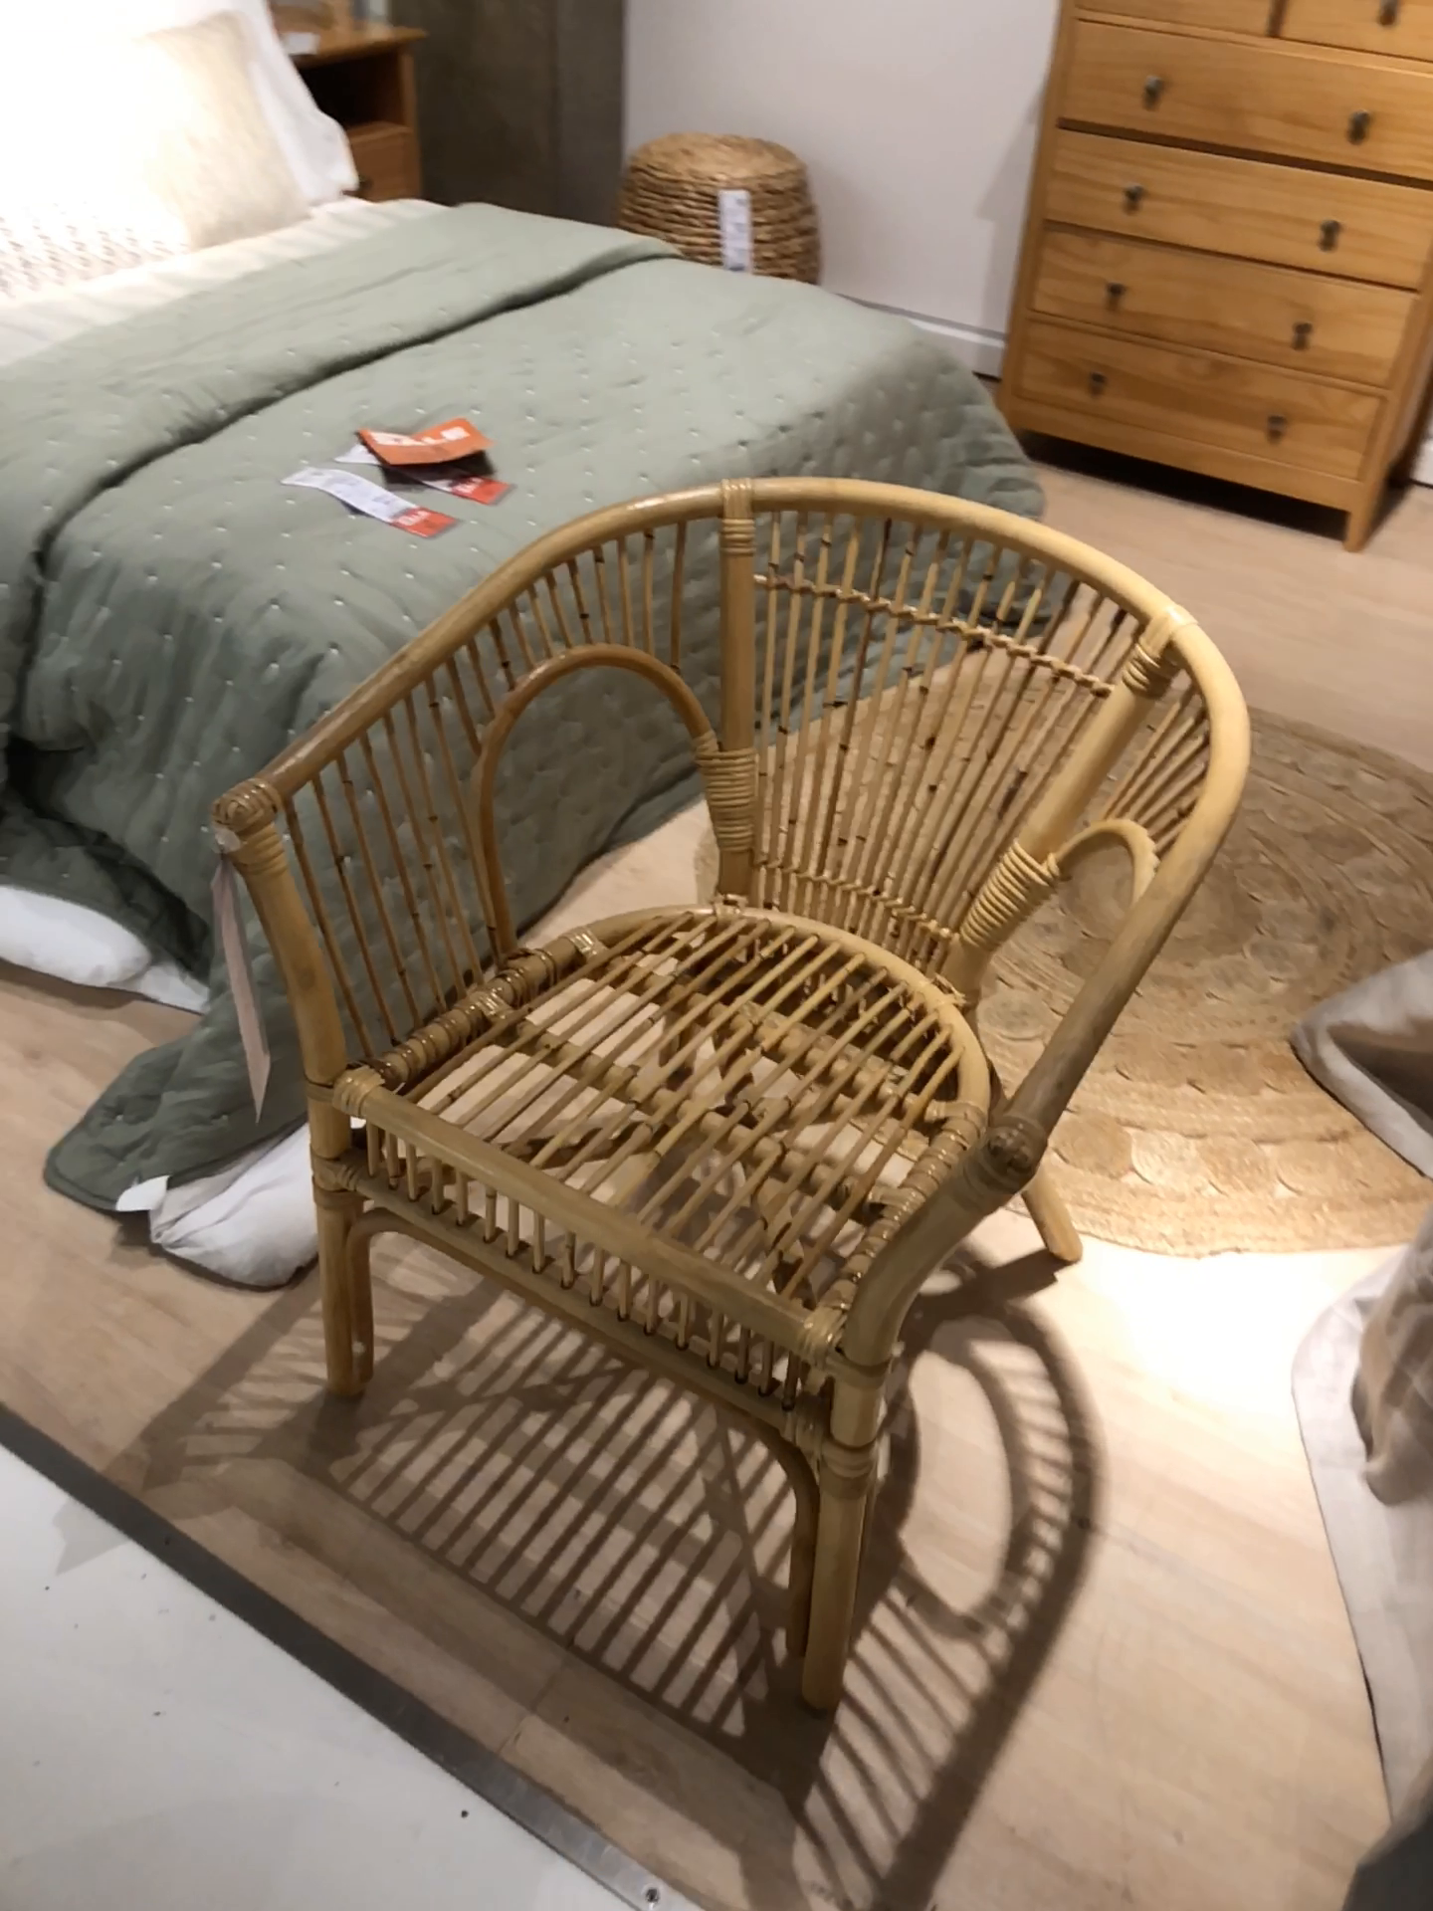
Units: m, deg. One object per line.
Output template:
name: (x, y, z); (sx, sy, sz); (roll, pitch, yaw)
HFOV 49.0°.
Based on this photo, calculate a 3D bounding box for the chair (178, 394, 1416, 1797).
chair: (0.070, 0.069, 1.288); (0.591, 0.754, 0.634); (25, 43, 24)
